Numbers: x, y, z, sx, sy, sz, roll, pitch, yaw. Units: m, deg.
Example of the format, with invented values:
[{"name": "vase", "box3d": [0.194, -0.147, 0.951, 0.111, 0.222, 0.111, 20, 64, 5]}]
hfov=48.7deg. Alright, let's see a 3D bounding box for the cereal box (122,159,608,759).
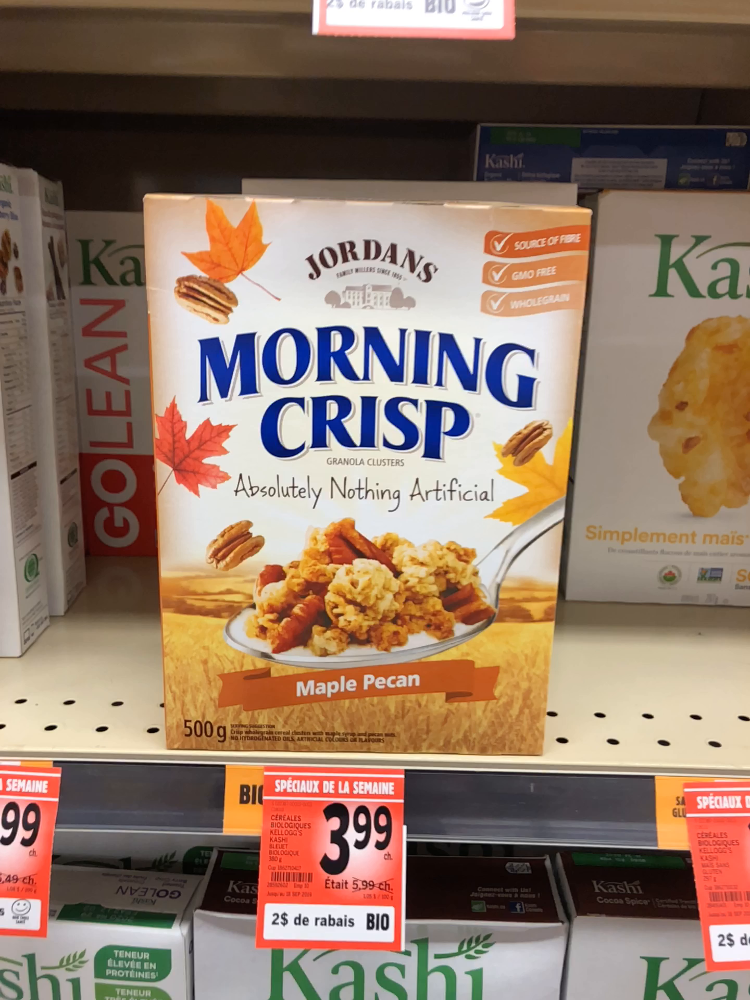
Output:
[{"name": "cereal box", "box3d": [-0.009, -0.011, 0.382, 0.190, 0.259, 0.050, 2, 15, -2]}]
